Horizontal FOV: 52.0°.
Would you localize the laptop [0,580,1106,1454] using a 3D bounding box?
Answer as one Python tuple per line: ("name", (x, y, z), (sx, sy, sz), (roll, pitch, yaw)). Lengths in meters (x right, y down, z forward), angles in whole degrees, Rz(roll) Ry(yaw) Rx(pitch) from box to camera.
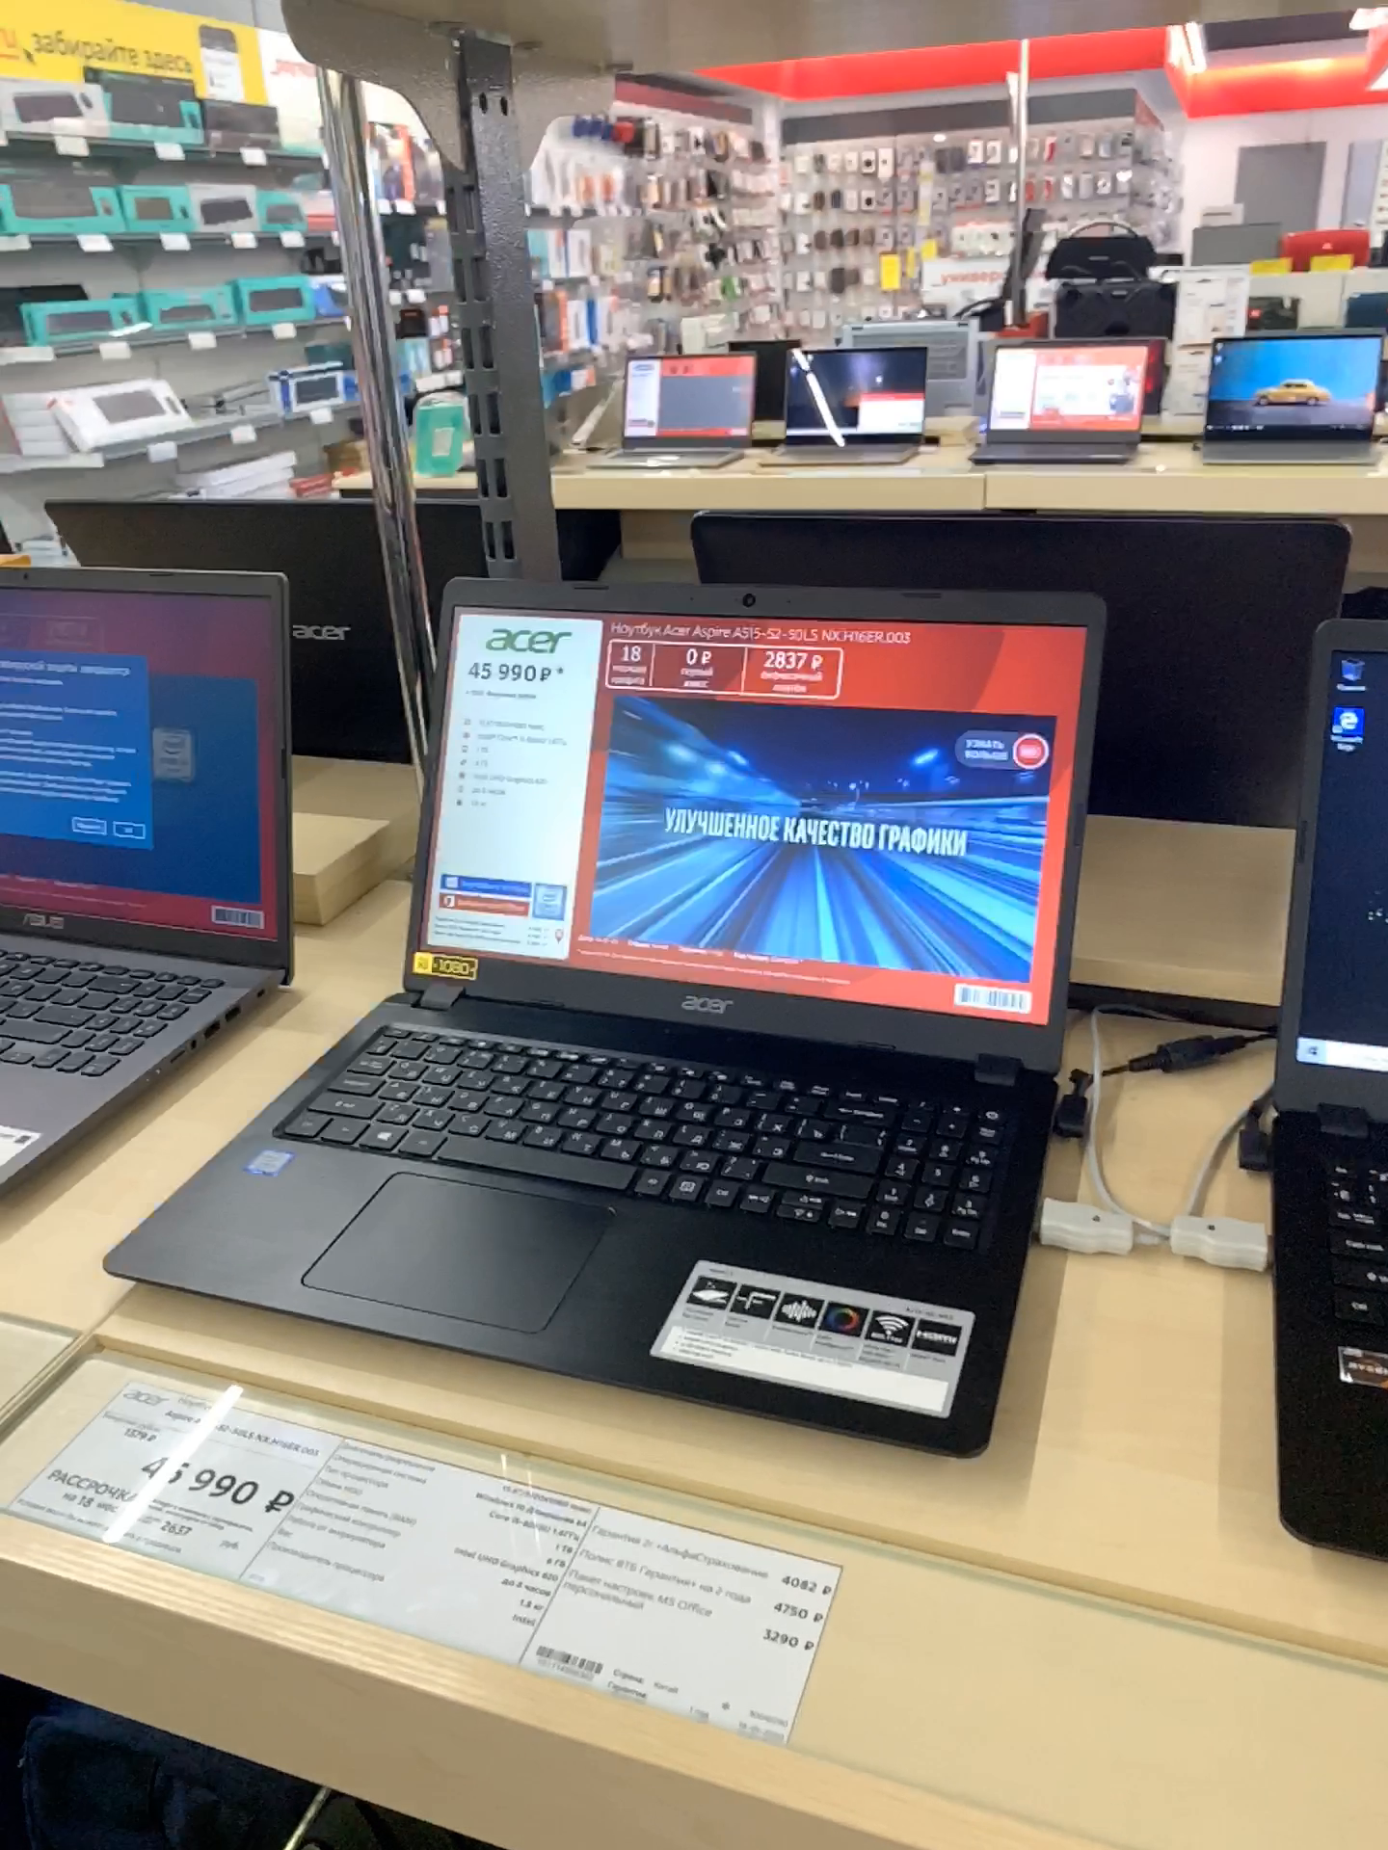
("laptop", (-0.022, -0.011, 0.653), (0.368, 0.208, 0.366), (6, 26, 19))
